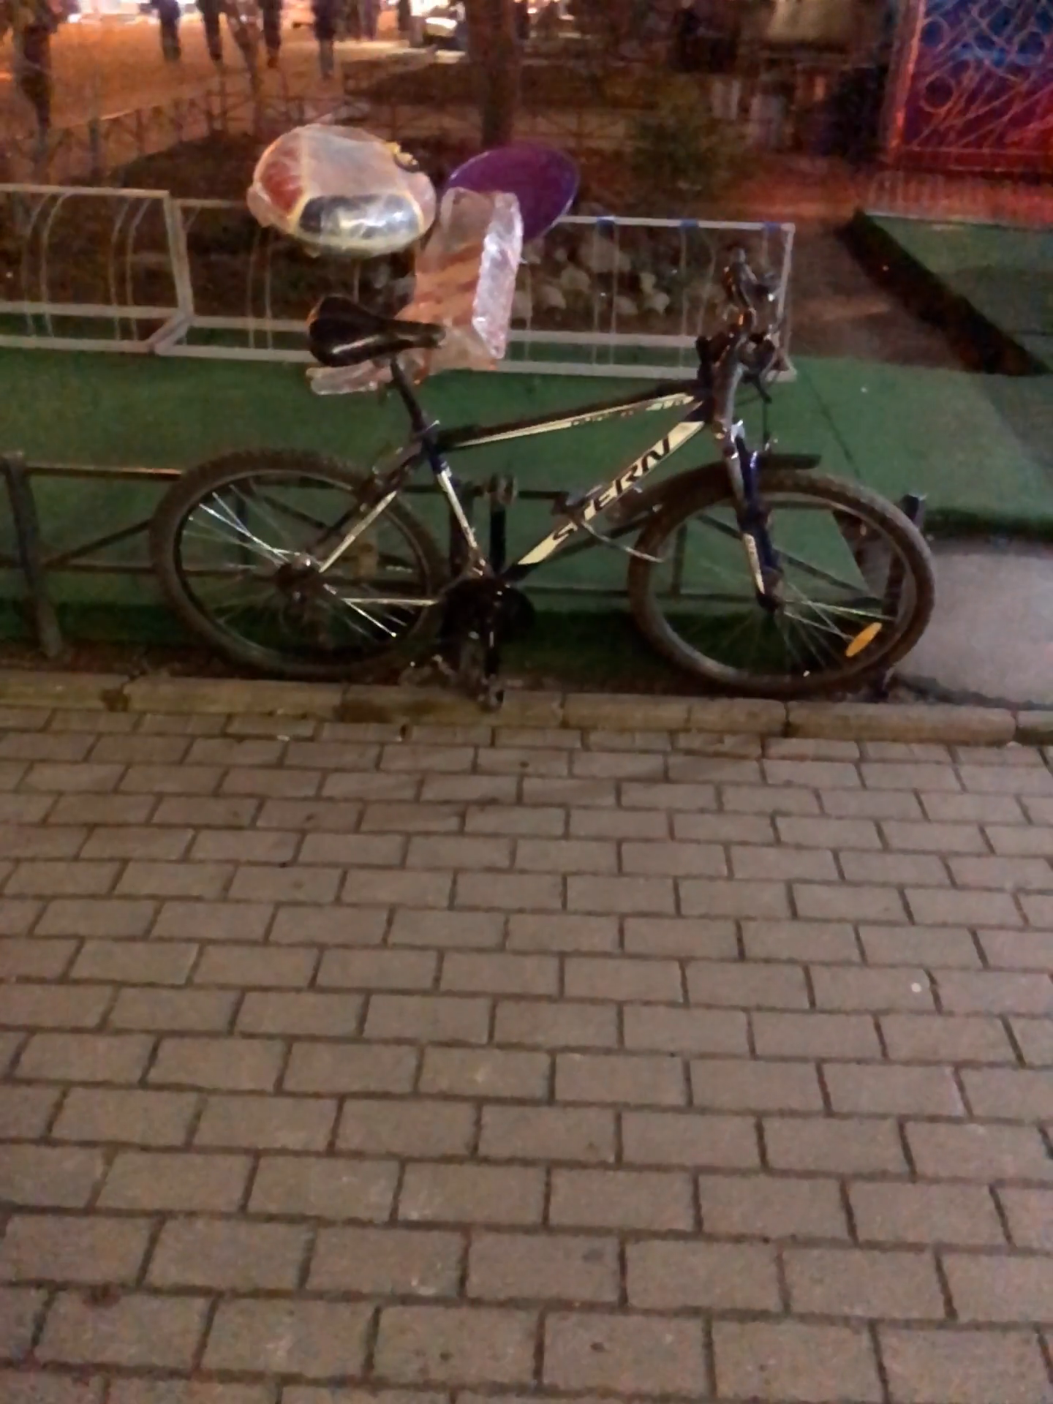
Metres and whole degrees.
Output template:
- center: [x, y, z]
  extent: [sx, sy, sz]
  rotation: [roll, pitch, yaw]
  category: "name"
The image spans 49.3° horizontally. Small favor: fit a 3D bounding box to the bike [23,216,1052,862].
- center: [0.021, -0.297, 2.038]
  extent: [1.456, 0.882, 0.533]
  rotation: [5, 29, 1]
  category: "bike"
